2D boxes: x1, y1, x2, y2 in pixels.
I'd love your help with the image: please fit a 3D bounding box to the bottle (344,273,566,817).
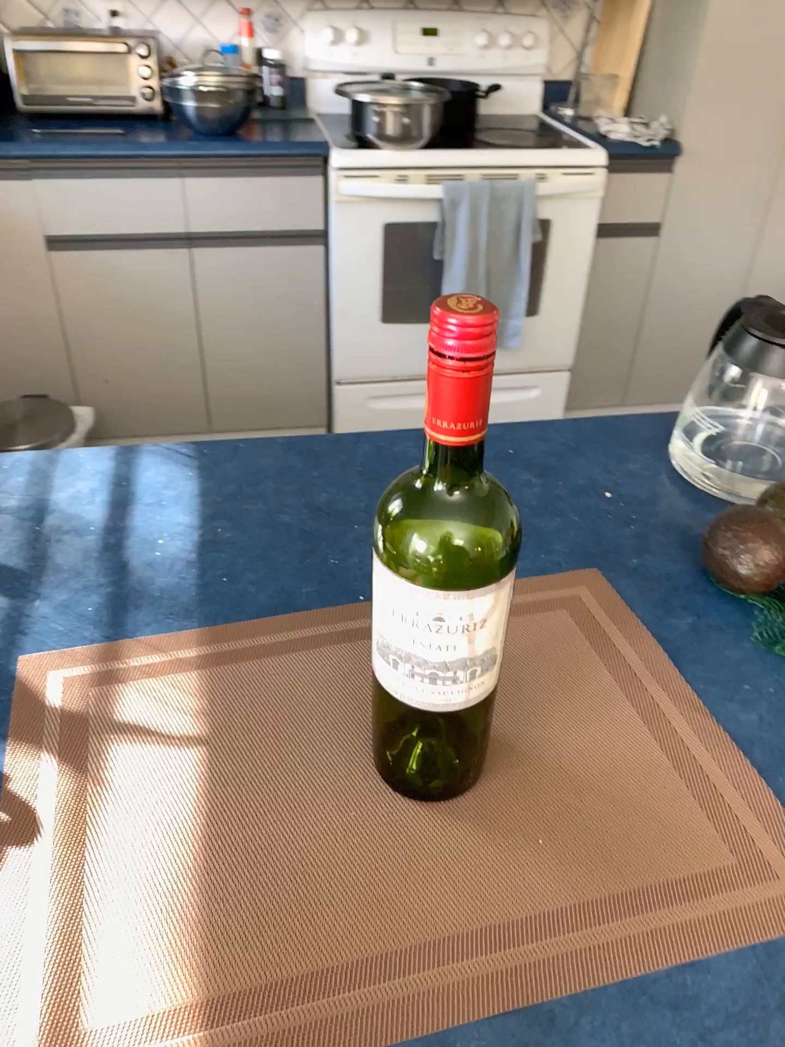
[{"bbox_3d":[0.025,0.024,0.421,0.080,0.277,0.081,2,35,-1],"label":"bottle"}]
